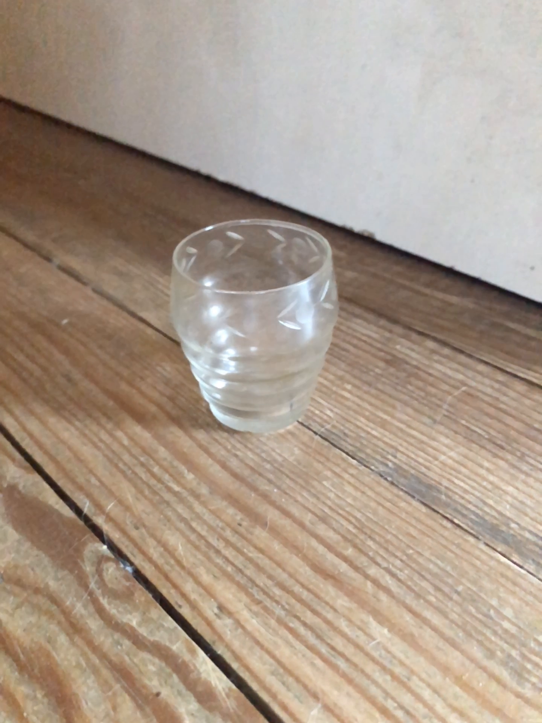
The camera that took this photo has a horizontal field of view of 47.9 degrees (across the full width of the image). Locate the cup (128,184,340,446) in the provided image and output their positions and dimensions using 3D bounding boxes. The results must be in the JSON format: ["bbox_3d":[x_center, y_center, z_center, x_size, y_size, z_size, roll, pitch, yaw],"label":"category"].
[{"bbox_3d":[-0.007,-0.015,0.189,0.050,0.060,0.050,-1,38,1],"label":"cup"}]
